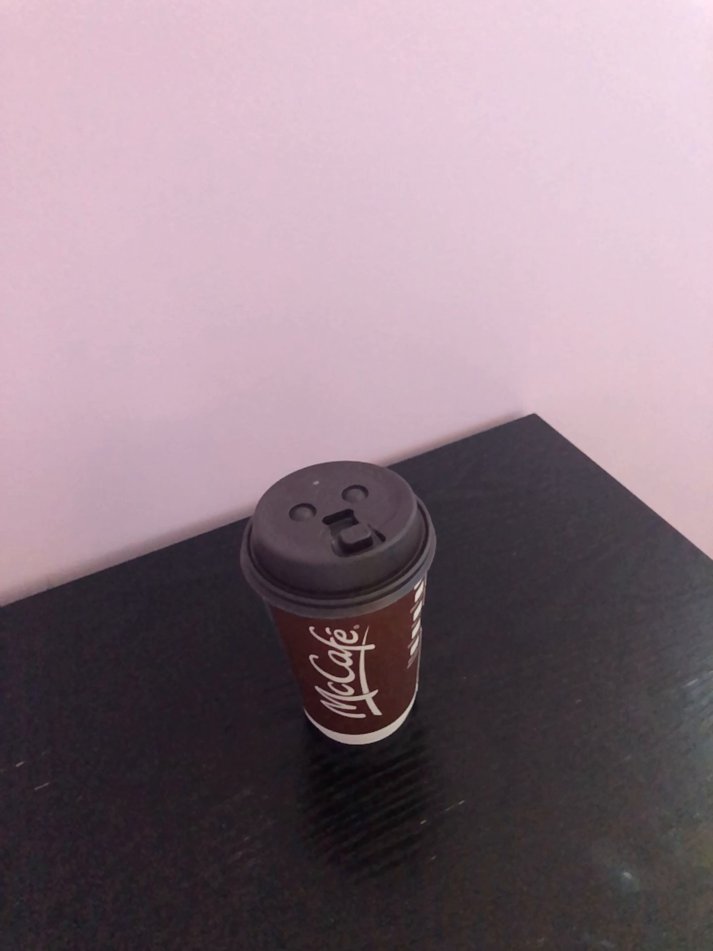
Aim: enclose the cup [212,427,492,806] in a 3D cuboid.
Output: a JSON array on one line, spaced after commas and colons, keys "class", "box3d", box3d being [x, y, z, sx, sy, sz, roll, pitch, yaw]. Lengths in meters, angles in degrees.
[{"class": "cup", "box3d": [0.002, 0.070, 0.397, 0.090, 0.139, 0.090, -3, 39, 3]}]
